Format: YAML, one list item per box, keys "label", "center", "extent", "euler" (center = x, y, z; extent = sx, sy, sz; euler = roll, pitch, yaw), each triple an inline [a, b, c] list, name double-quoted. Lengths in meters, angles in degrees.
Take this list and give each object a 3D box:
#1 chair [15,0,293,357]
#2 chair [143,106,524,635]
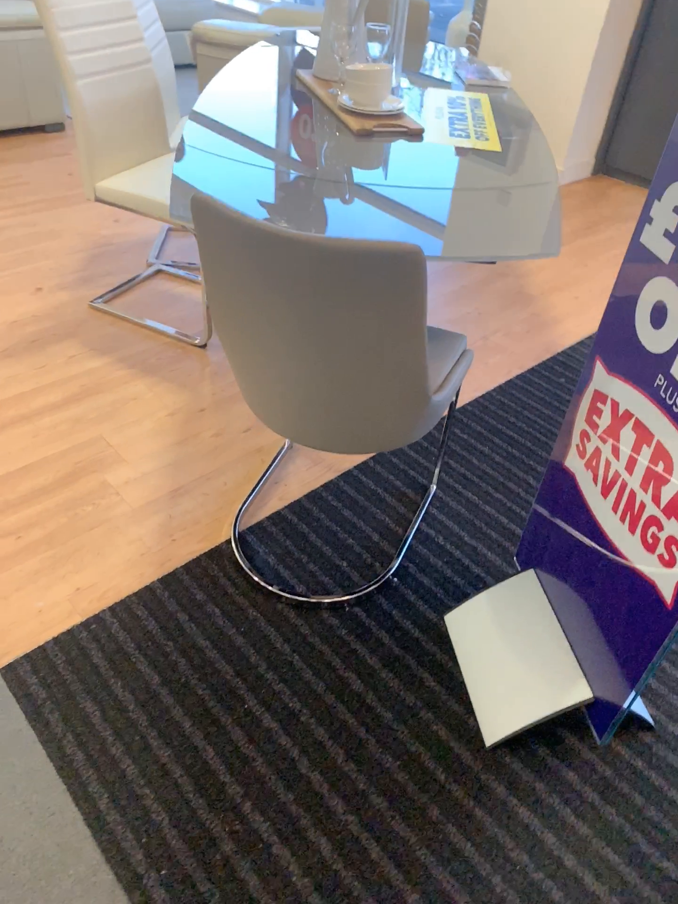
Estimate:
- label: "chair"
  center: [-0.553, -0.961, 2.313]
  extent: [0.590, 1.025, 0.511]
  euler: [20, 42, 16]
- label: "chair"
  center: [0.005, -0.175, 1.475]
  extent: [0.507, 0.846, 0.594]
  euler: [15, 41, 11]
